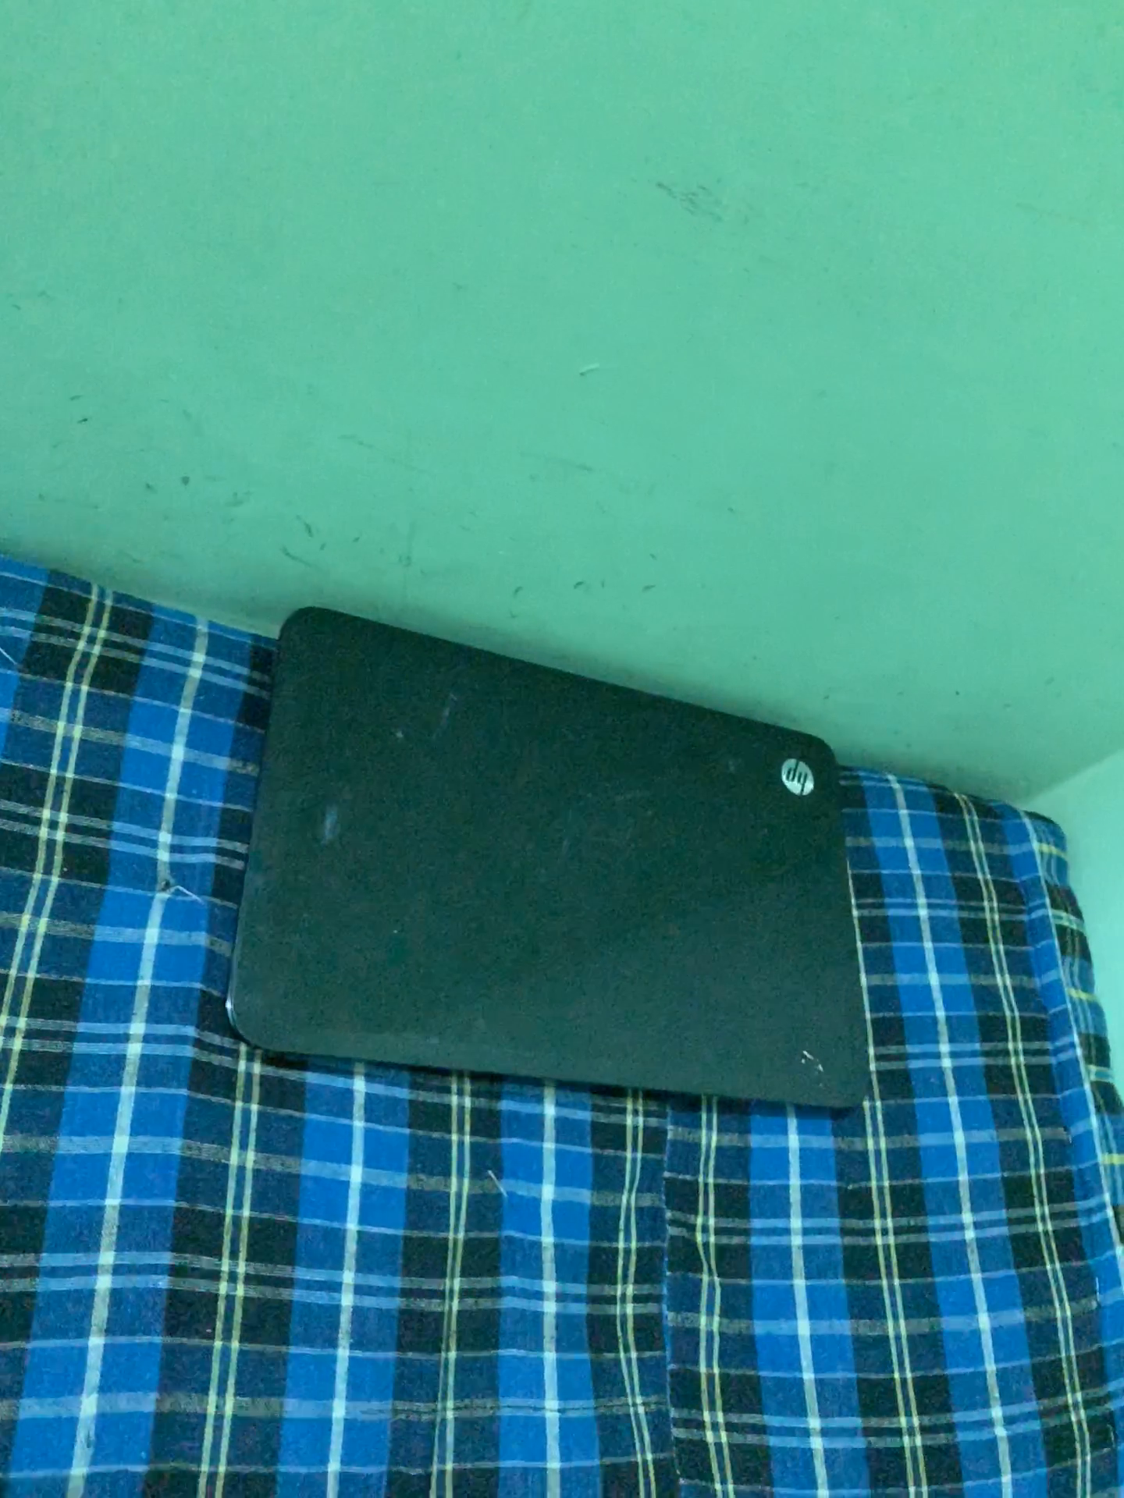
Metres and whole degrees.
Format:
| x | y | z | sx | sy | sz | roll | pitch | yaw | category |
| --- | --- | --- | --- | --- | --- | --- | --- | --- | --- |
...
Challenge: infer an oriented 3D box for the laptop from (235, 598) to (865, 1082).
| x | y | z | sx | sy | sz | roll | pitch | yaw | category |
| --- | --- | --- | --- | --- | --- | --- | --- | --- | --- |
| 0.012 | 0.056 | 0.632 | 0.347 | 0.018 | 0.217 | 12 | 62 | -24 | laptop |
